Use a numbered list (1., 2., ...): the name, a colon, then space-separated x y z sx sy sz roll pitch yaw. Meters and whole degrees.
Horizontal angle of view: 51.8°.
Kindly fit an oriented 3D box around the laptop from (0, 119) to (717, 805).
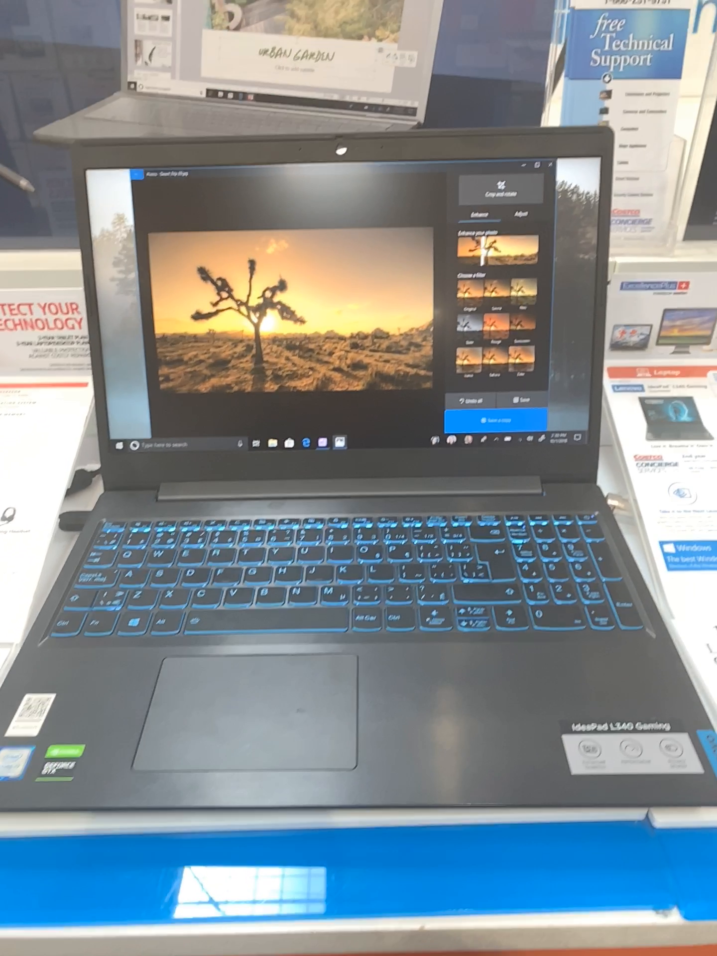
1. laptop: 0.001 -0.046 0.396 0.340 0.214 0.330 -1 34 0
